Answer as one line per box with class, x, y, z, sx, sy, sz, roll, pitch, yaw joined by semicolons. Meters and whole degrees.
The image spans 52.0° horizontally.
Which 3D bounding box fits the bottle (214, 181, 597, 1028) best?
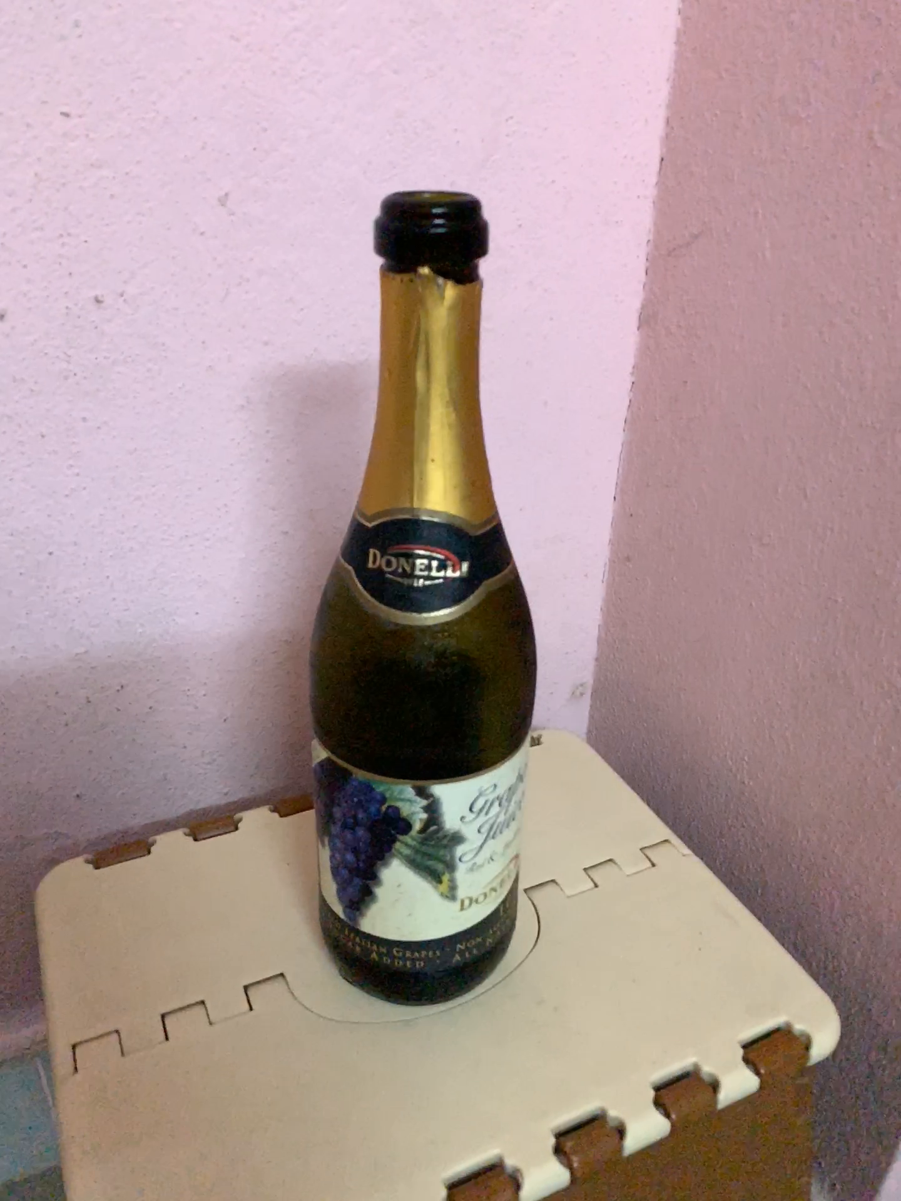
bottle;-0.012;0.016;0.311;0.090;0.279;0.070;5;28;5
